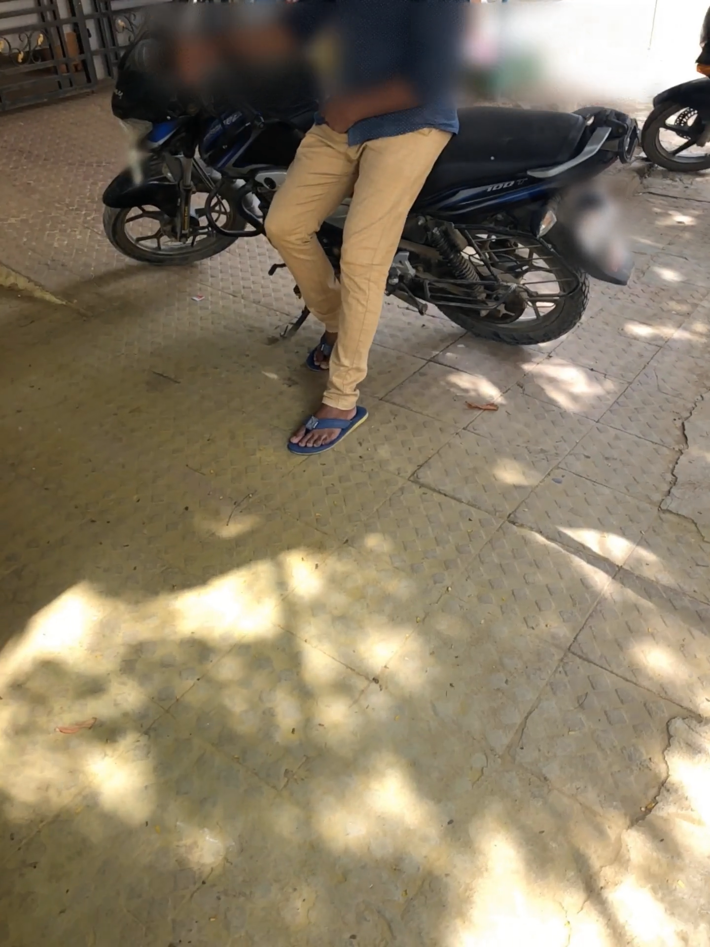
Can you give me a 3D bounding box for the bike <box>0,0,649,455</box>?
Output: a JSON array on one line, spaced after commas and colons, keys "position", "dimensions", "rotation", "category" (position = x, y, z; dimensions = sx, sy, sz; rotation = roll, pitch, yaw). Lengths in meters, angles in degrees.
[{"position": [-0.154, -0.929, 2.403], "dimensions": [1.742, 1.174, 0.789], "rotation": [13, 39, 19], "category": "bike"}]
